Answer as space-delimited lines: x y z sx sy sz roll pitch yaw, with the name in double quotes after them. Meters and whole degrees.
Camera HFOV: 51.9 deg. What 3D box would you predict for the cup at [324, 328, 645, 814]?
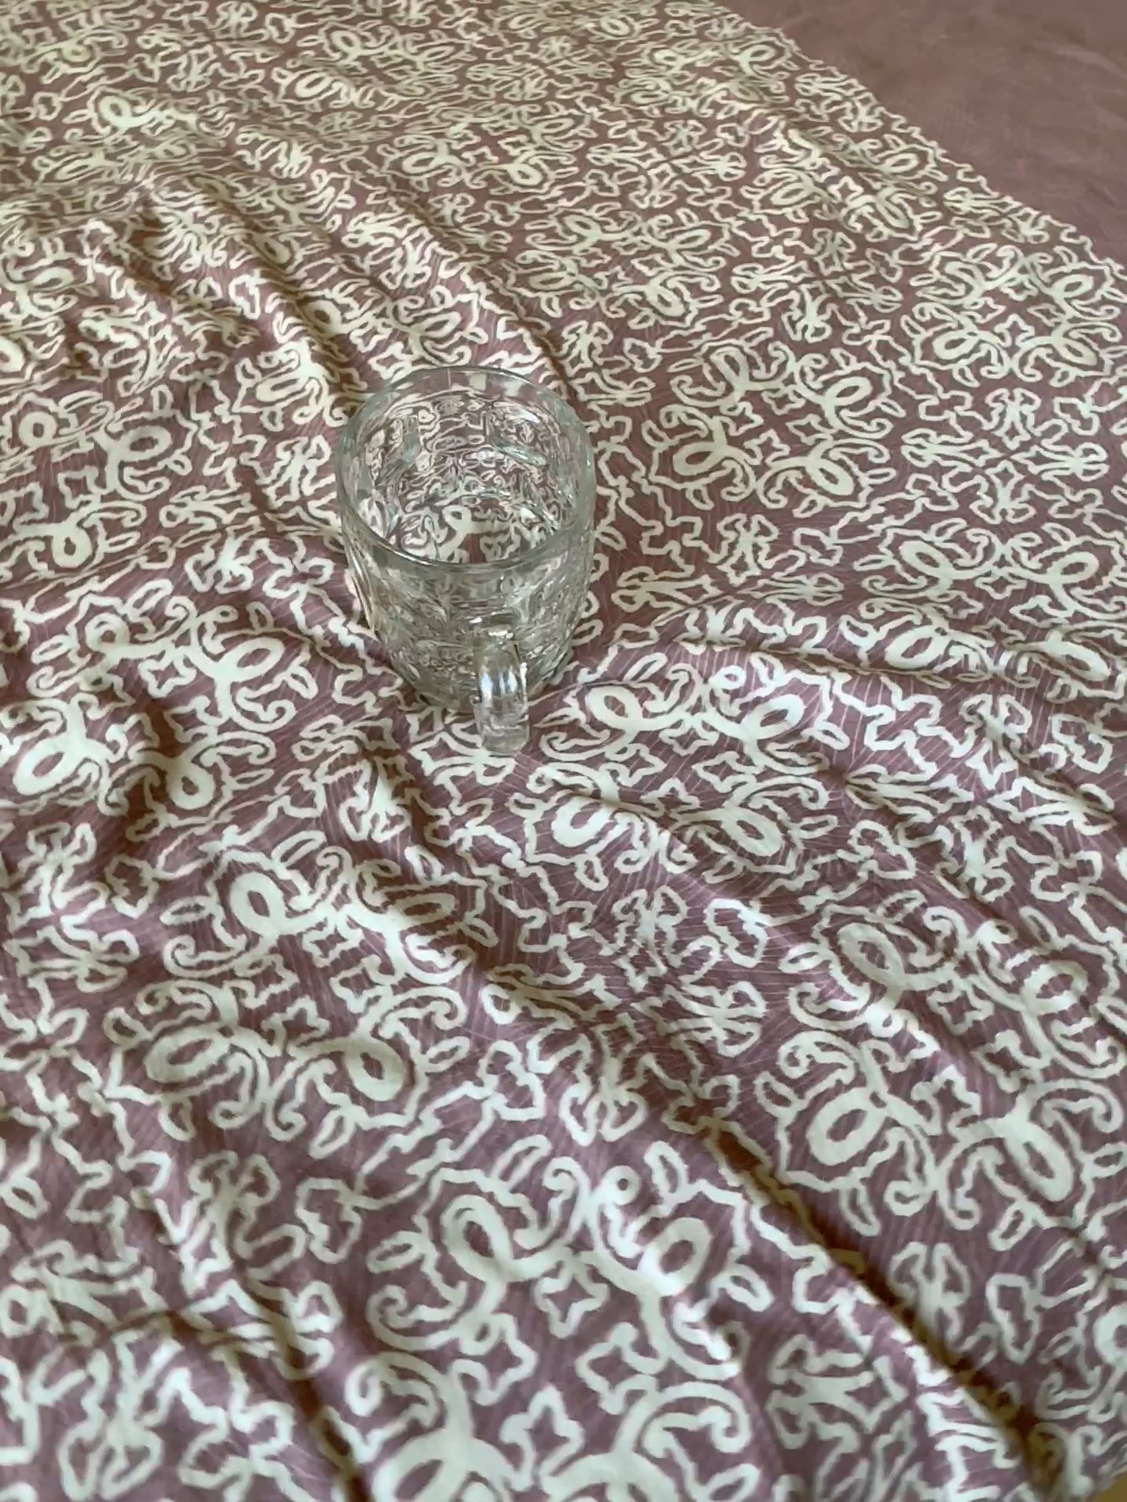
-0.028 -0.062 0.417 0.090 0.109 0.121 -8 58 -3 "cup"
